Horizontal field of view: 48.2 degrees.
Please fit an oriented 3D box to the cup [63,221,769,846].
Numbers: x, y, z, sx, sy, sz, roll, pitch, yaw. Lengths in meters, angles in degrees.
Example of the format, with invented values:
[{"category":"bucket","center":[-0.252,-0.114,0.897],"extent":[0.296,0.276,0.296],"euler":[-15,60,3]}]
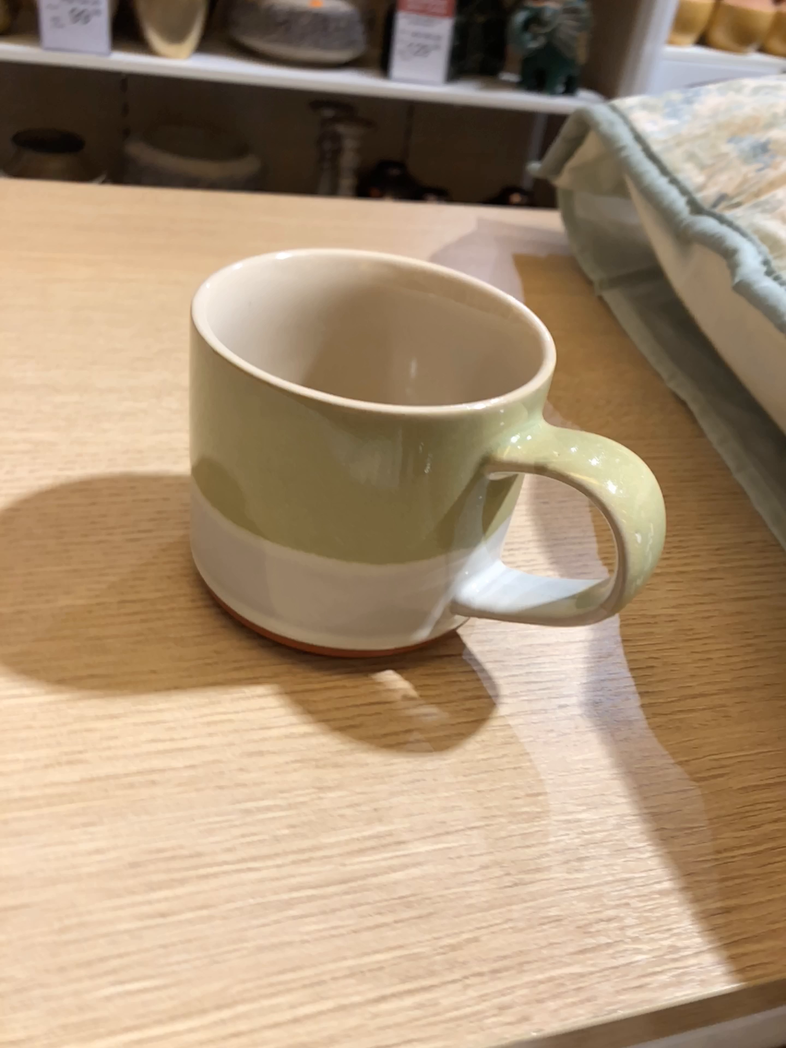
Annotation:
[{"category":"cup","center":[0.005,-0.011,0.235],"extent":[0.140,0.079,0.101],"euler":[25,39,20]}]
